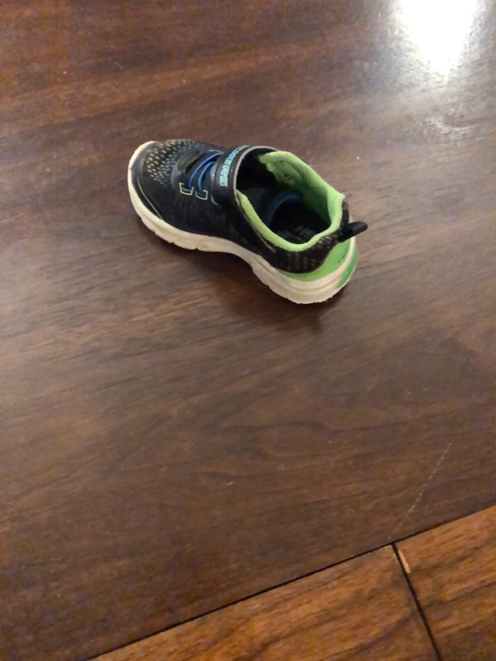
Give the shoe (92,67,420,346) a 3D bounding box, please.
[{"bbox_3d":[0.003,-0.077,0.351,0.170,0.080,0.080,28,68,8],"label":"shoe"}]
